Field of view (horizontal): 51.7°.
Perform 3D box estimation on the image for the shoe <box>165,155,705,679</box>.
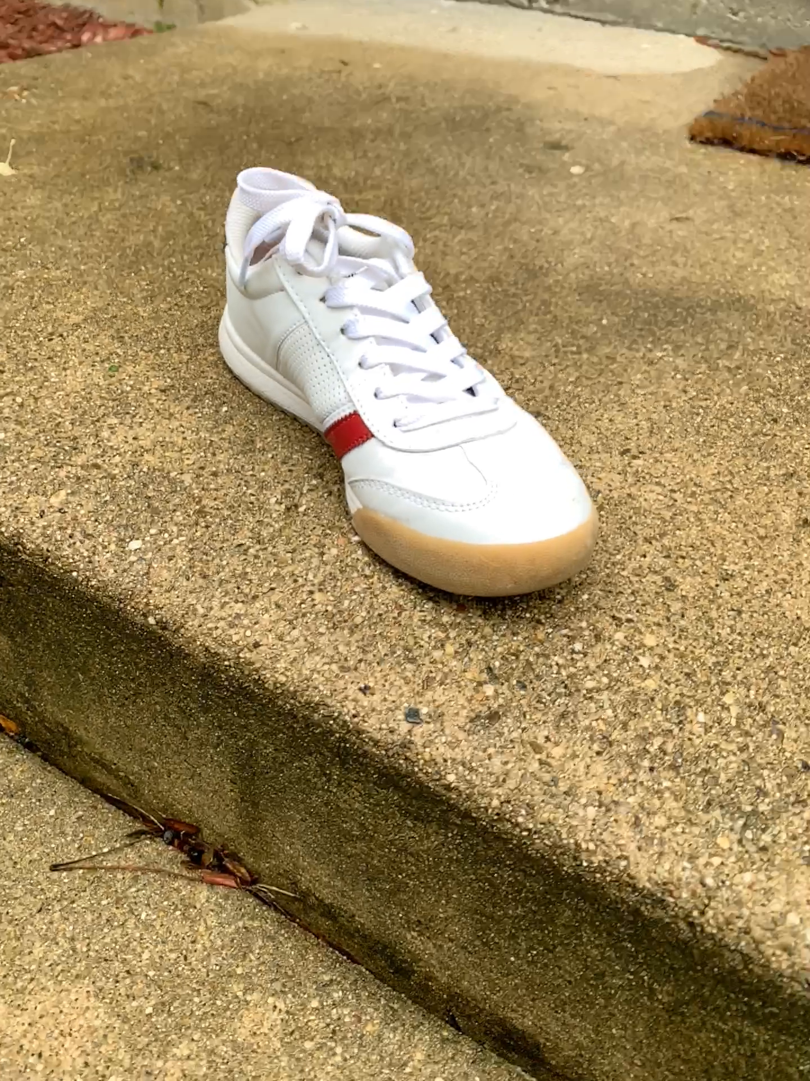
[{"bbox_3d":[-0.012,-0.079,0.376,0.098,0.092,0.270,-19,46,-24],"label":"shoe"}]
